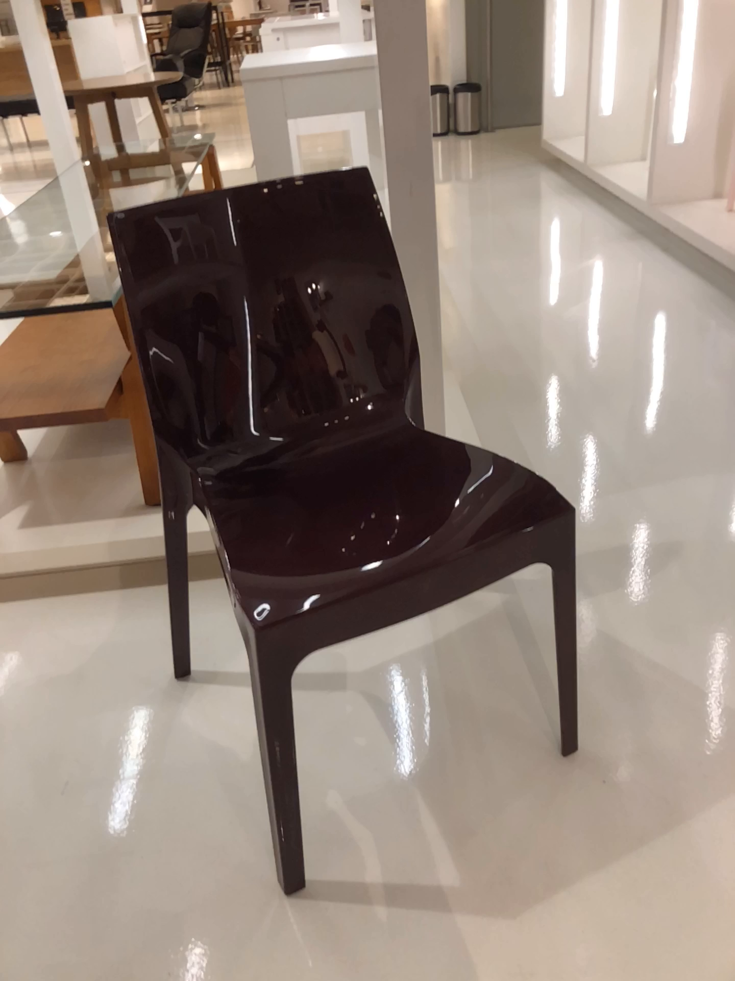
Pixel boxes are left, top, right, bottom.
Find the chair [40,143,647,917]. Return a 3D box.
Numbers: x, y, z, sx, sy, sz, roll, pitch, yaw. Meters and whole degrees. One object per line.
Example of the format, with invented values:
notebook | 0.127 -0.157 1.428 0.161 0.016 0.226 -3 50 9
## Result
chair | -0.041 0.007 1.159 0.531 0.814 0.563 -19 33 -20
